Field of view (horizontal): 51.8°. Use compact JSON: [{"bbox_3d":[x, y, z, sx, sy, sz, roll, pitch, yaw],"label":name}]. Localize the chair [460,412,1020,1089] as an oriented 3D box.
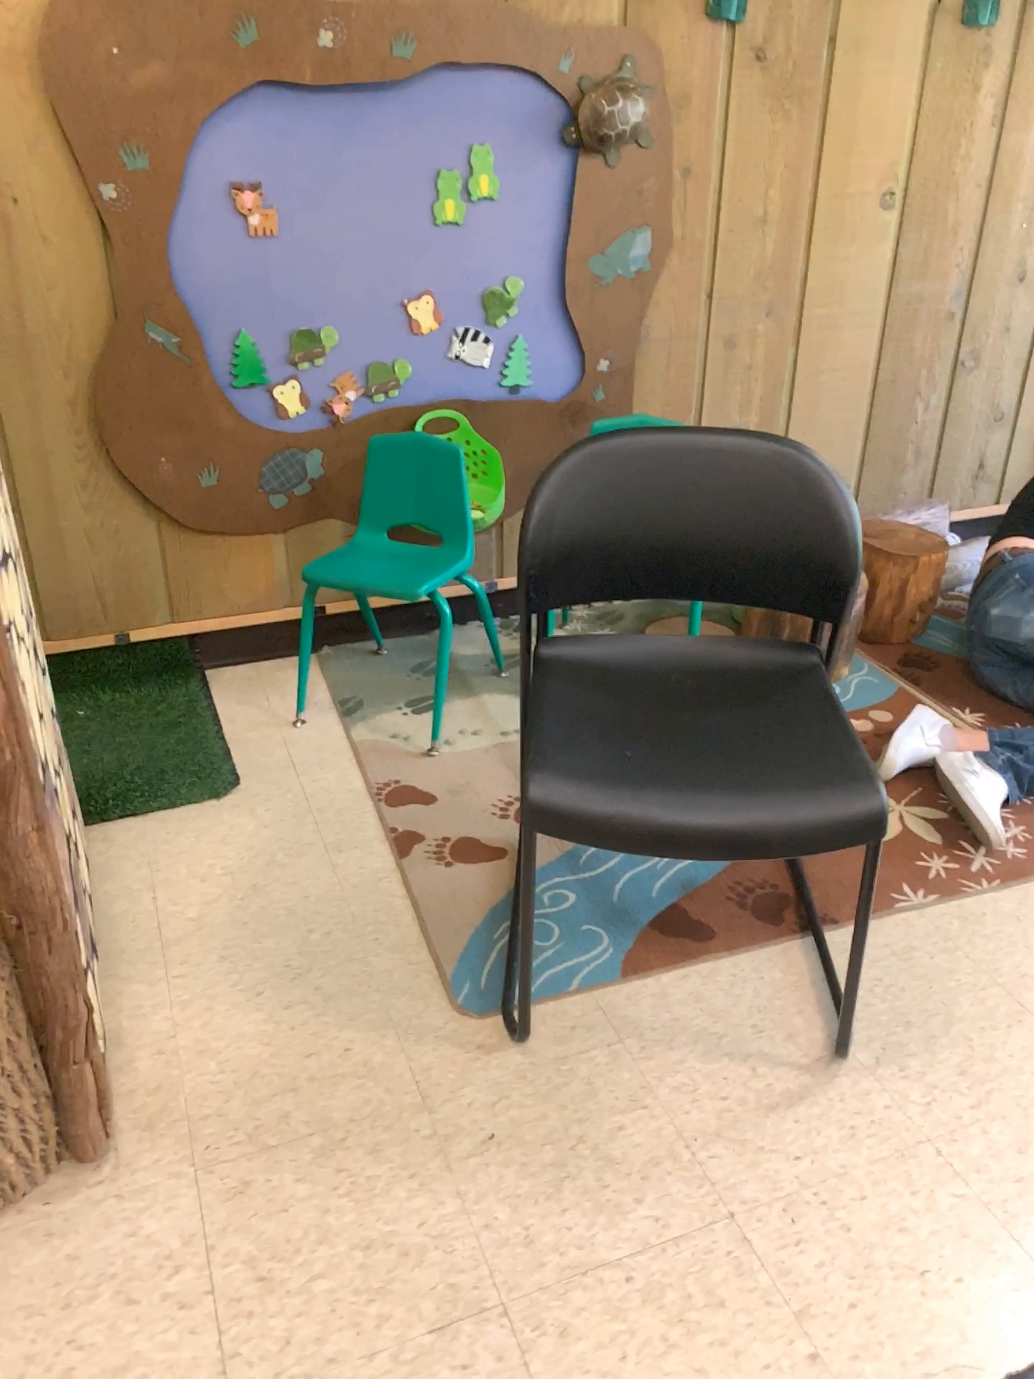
[{"bbox_3d":[0.244,0.062,1.562,0.590,0.785,0.573,2,27,2],"label":"chair"}]
